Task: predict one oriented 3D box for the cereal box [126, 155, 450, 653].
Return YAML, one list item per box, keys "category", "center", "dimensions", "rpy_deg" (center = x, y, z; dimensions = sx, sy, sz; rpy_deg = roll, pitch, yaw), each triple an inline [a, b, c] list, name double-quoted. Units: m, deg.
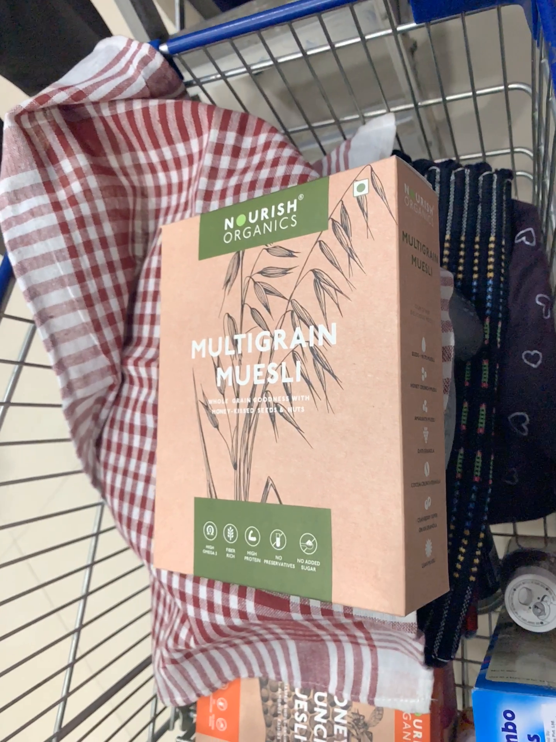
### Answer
- category: "cereal box"
  center: [-0.002, 0.016, 0.297]
  dimensions: [0.161, 0.050, 0.200]
  rpy_deg: [-4, 82, 35]
